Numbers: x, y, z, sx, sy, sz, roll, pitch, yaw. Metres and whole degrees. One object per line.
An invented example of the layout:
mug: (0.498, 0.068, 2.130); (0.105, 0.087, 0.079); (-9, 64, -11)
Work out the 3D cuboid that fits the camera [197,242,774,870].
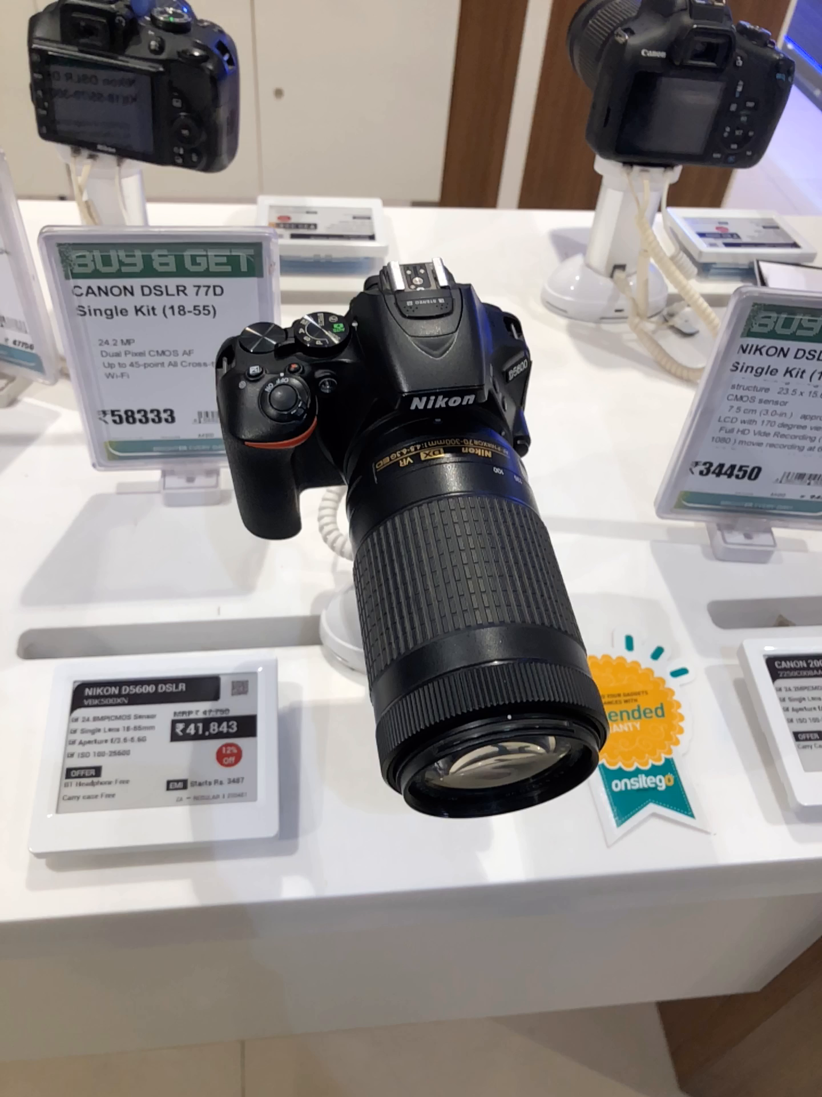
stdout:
camera: (0.003, -0.013, 0.315); (0.140, 0.089, 0.201); (-3, 48, -9)
